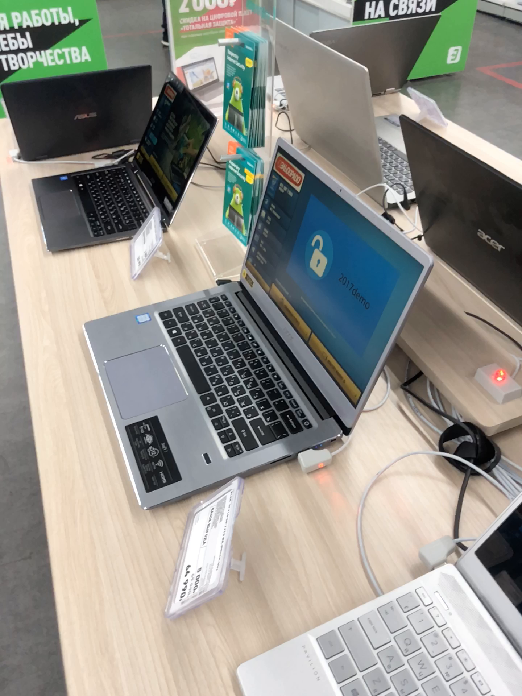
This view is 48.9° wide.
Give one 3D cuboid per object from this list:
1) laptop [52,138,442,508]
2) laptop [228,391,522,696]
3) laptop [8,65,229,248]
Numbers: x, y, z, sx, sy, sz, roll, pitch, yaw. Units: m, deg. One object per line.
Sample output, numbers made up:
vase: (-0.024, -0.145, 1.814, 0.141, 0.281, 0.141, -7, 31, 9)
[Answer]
laptop: (-0.037, -0.055, 0.653, 0.302, 0.197, 0.316, -18, 43, -15)
laptop: (0.188, 0.235, 0.331, 0.322, 0.164, 0.306, -18, 43, -14)
laptop: (-0.257, -0.354, 1.024, 0.311, 0.159, 0.280, -17, 43, -13)
